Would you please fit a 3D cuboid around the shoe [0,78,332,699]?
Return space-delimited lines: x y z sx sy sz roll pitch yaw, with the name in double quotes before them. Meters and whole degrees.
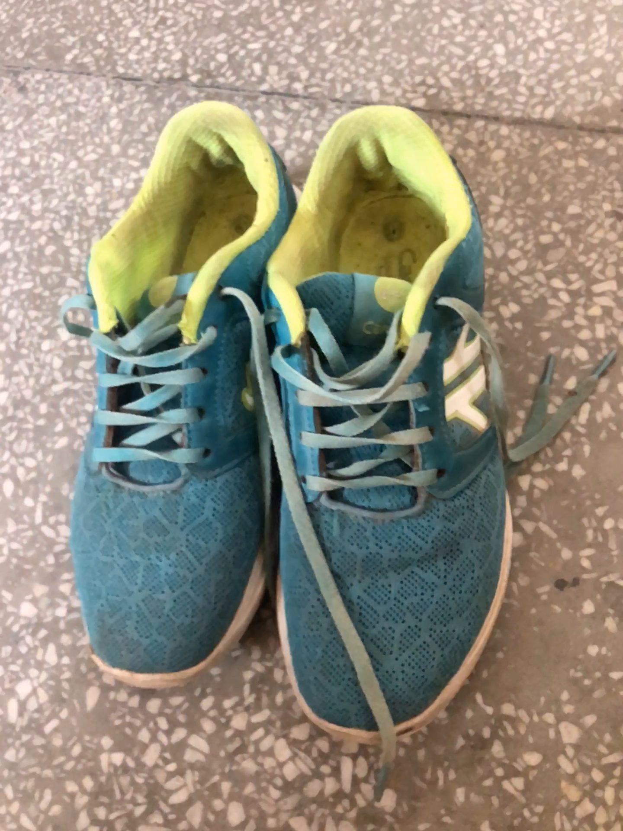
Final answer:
"shoe" -0.056 -0.016 0.296 0.090 0.080 0.240 3 70 13

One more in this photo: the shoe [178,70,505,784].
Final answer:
"shoe" 0.024 -0.003 0.286 0.100 0.080 0.250 1 75 13
